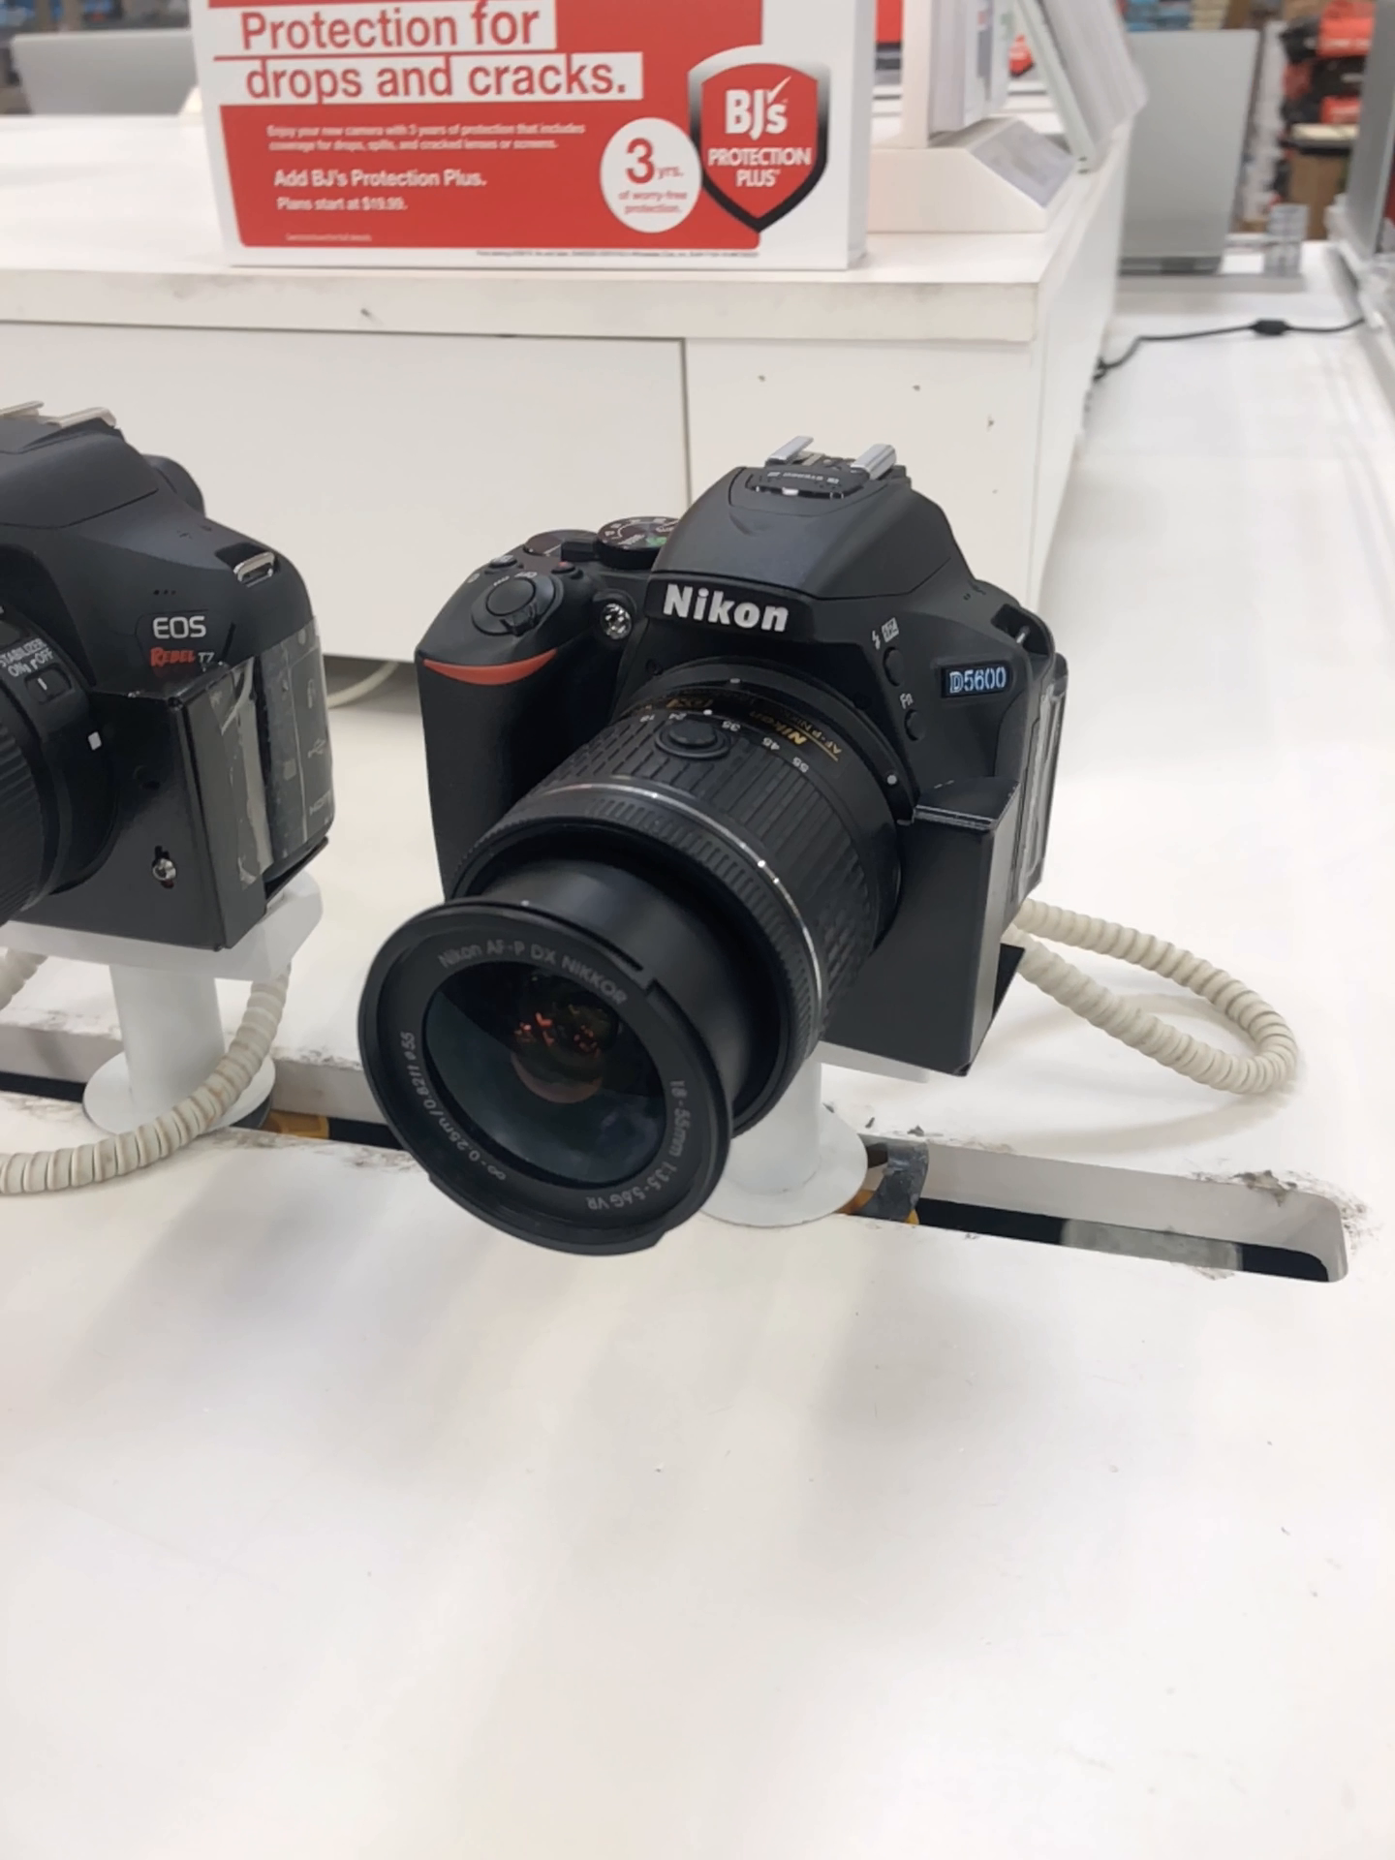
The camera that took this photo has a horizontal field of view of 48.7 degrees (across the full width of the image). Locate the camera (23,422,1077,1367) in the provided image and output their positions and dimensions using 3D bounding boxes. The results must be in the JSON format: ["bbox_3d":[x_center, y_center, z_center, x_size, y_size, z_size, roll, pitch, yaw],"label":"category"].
[{"bbox_3d":[-0.008,-0.023,0.270,0.120,0.089,0.151,9,32,16],"label":"camera"}]
